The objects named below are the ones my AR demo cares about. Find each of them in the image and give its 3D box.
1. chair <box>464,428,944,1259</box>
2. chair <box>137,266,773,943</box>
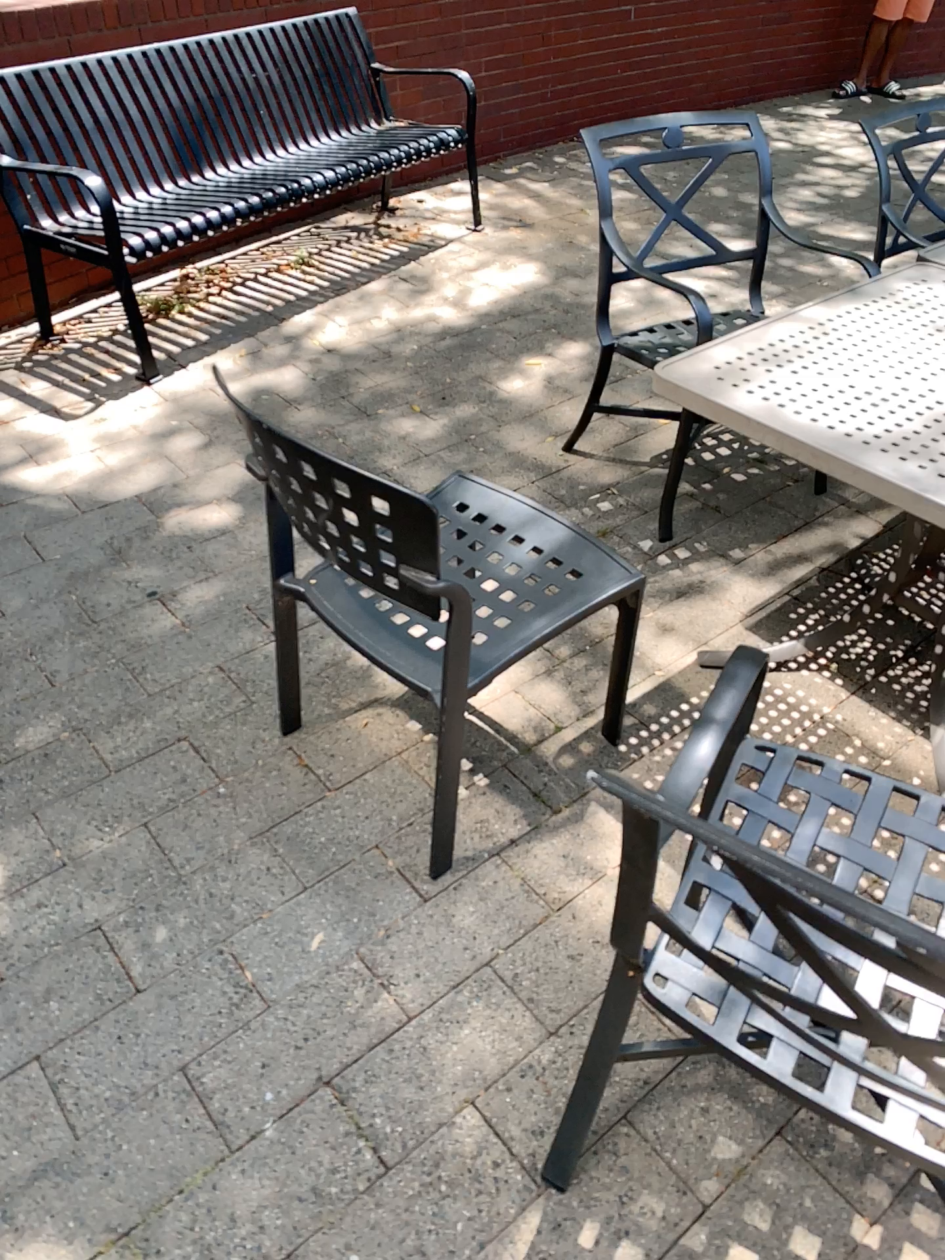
[{"bbox_3d":[0.424,0.335,1.018,0.622,0.755,0.652,20,43,22],"label":"chair"},{"bbox_3d":[-0.027,-0.087,1.573,0.651,0.706,0.623,-31,49,-33],"label":"chair"}]
